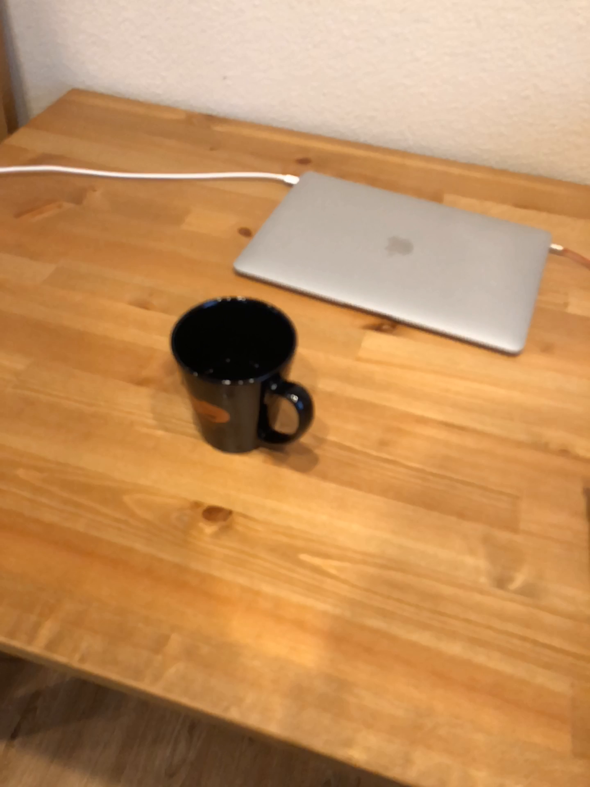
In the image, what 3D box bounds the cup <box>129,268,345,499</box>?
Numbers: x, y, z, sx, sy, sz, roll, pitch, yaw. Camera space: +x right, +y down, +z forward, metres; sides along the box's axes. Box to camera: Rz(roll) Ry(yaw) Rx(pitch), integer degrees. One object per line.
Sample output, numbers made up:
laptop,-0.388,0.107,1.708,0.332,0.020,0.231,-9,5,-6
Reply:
cup,-0.042,-0.010,0.473,0.120,0.090,0.090,36,55,27
